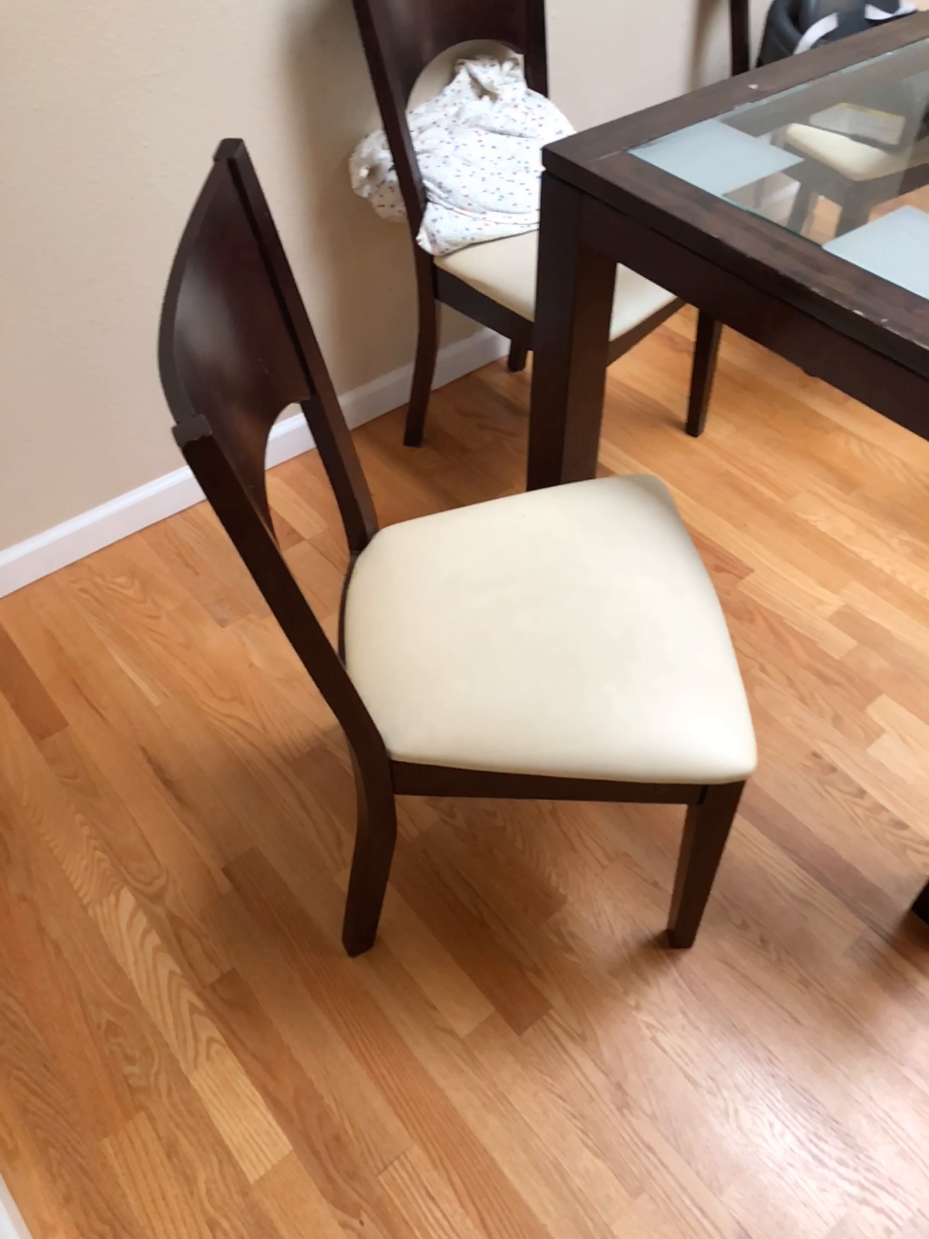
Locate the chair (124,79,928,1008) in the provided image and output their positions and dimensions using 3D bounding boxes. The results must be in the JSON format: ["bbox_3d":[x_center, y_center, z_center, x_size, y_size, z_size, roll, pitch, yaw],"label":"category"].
[{"bbox_3d":[0.030,-0.042,1.208,0.570,0.895,0.593,-5,47,-4],"label":"chair"}]
